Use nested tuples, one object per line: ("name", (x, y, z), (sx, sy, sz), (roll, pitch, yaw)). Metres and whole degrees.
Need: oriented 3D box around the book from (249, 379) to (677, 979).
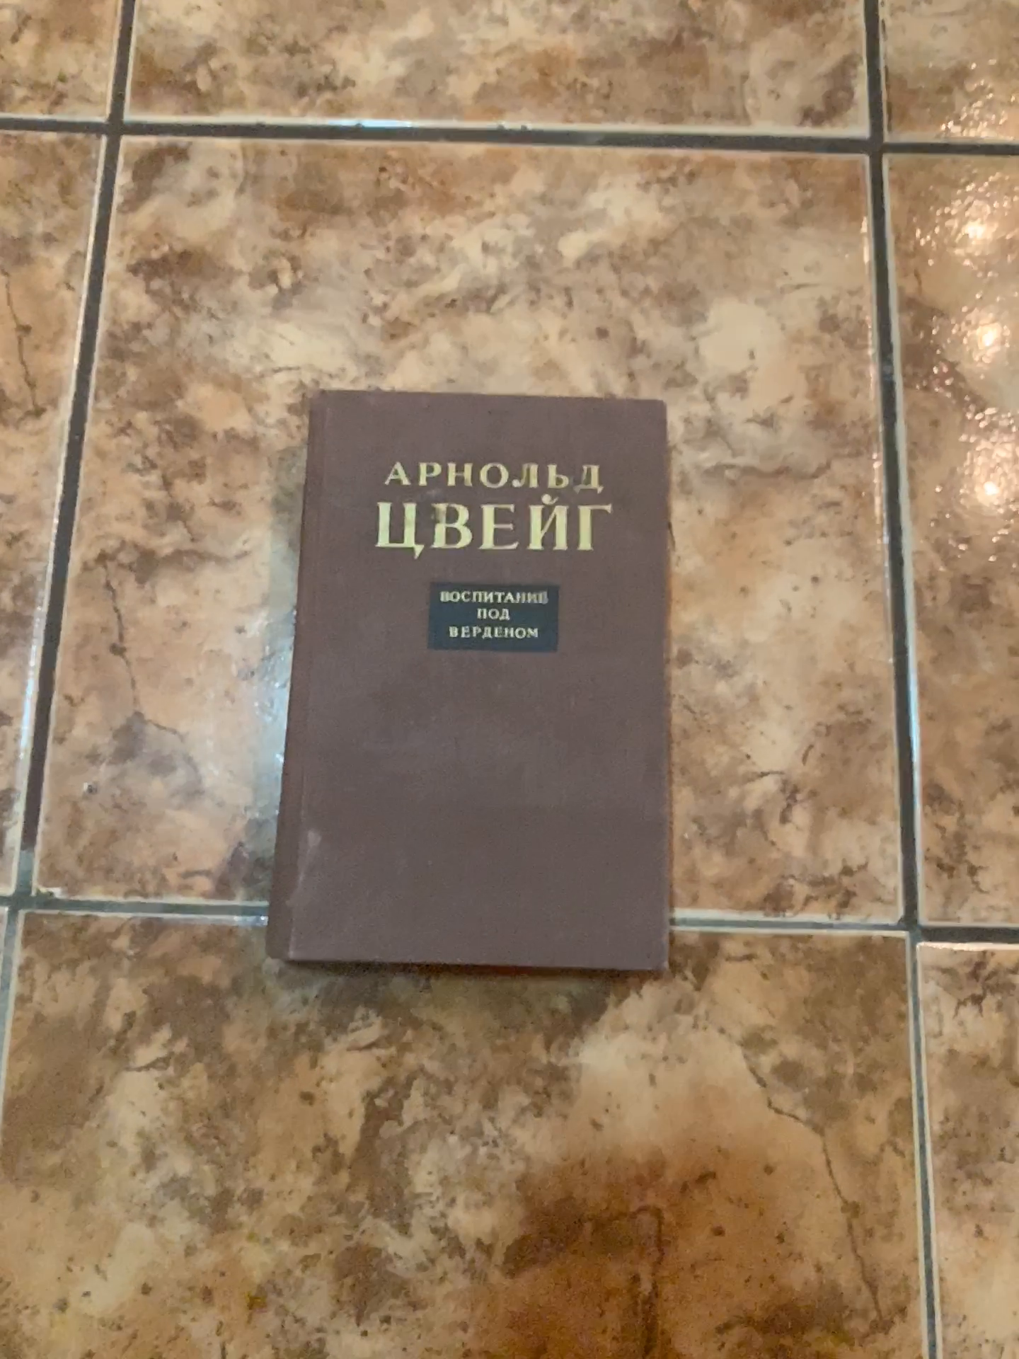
("book", (-0.012, -0.002, 0.379), (0.139, 0.035, 0.205), (2, 79, 0))
